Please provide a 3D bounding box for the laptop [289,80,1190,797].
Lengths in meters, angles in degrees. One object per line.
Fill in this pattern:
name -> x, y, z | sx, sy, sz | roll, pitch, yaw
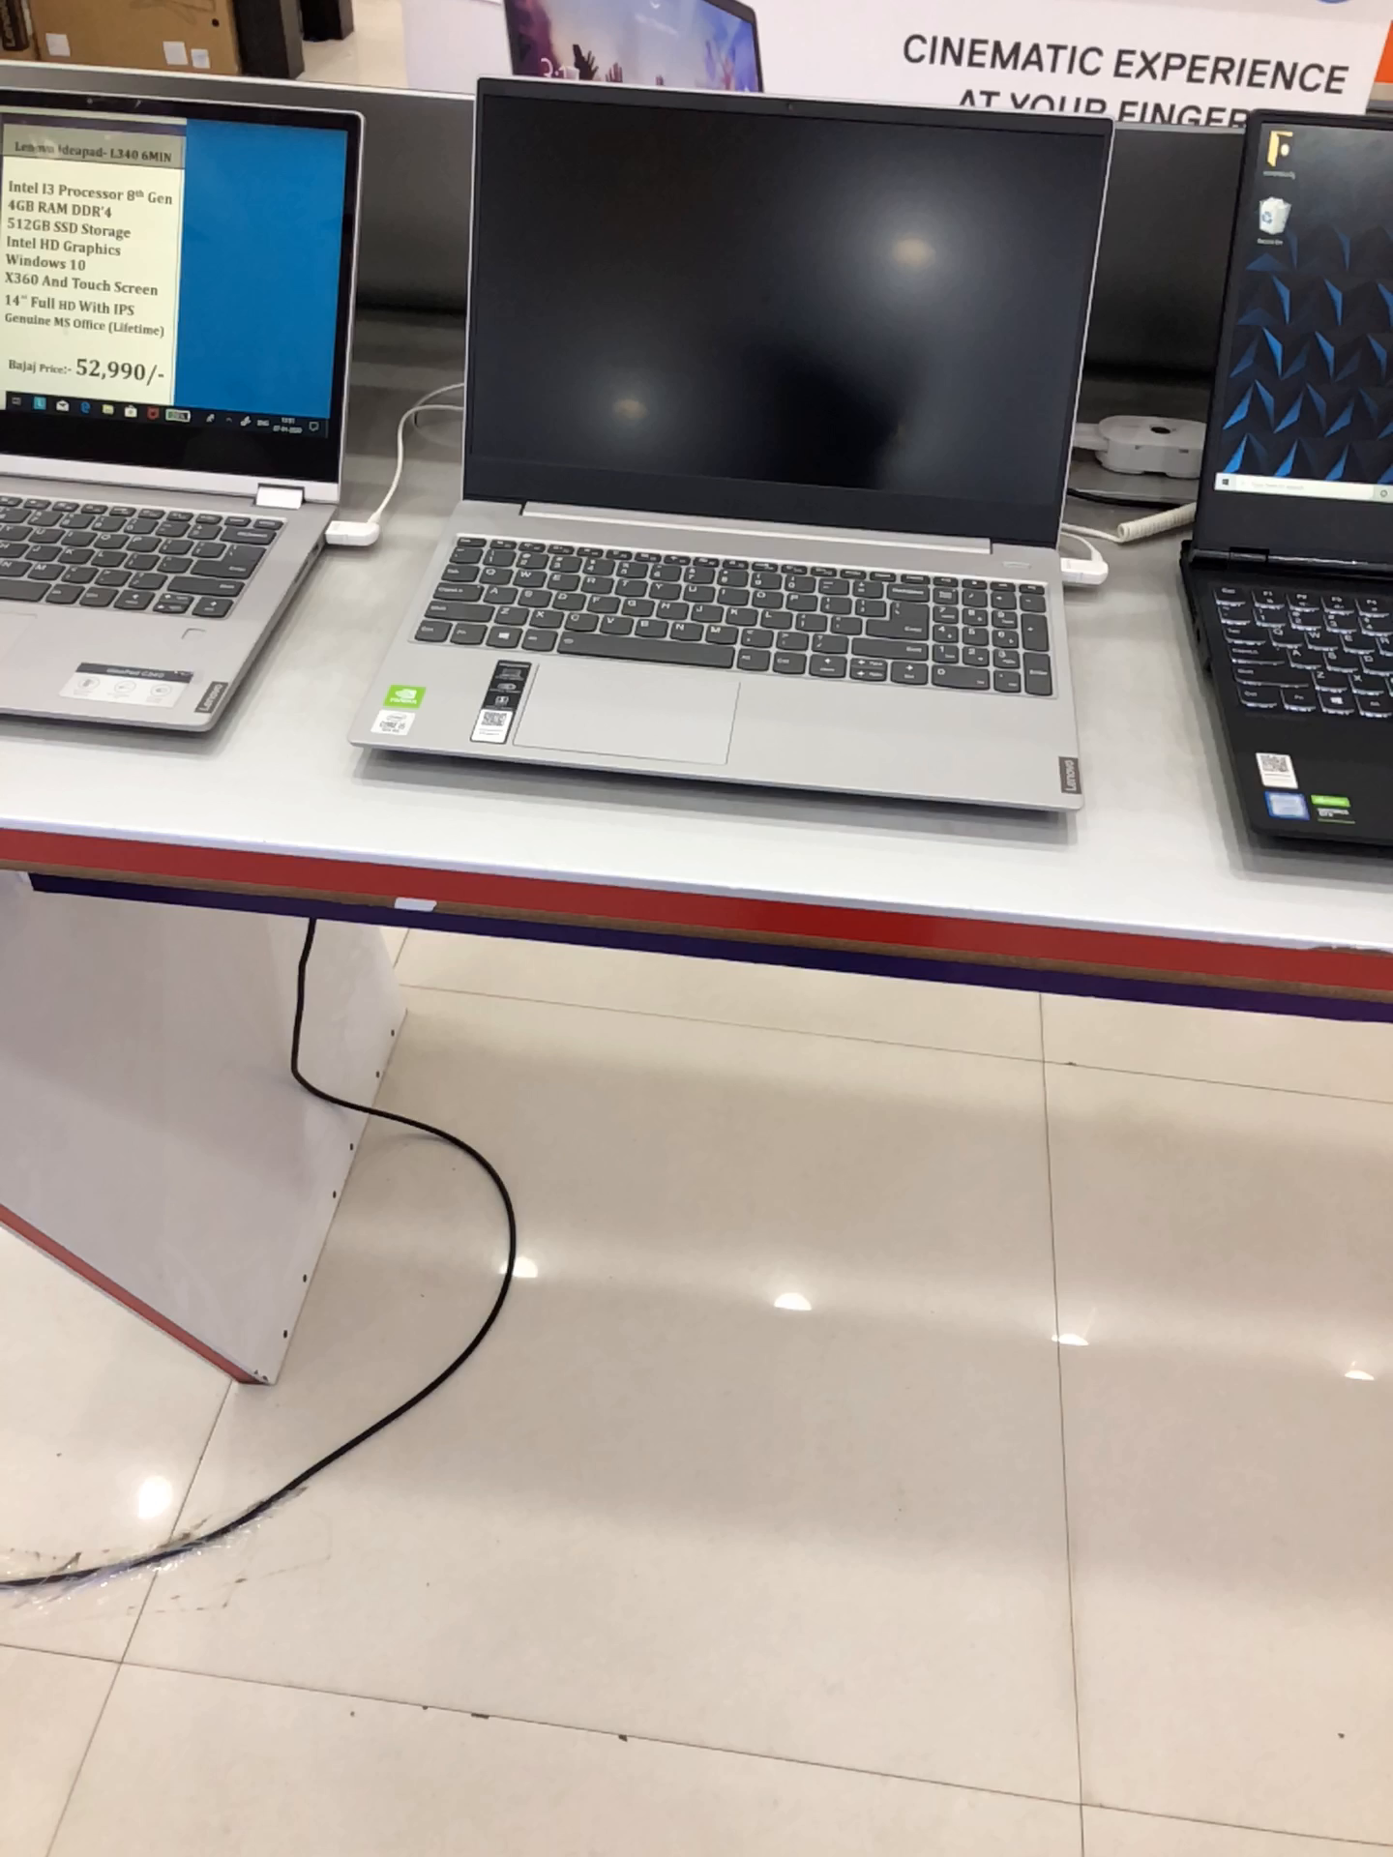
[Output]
laptop -> 0.030, -0.263, 0.770 | 0.341, 0.196, 0.347 | 5, 43, 3
